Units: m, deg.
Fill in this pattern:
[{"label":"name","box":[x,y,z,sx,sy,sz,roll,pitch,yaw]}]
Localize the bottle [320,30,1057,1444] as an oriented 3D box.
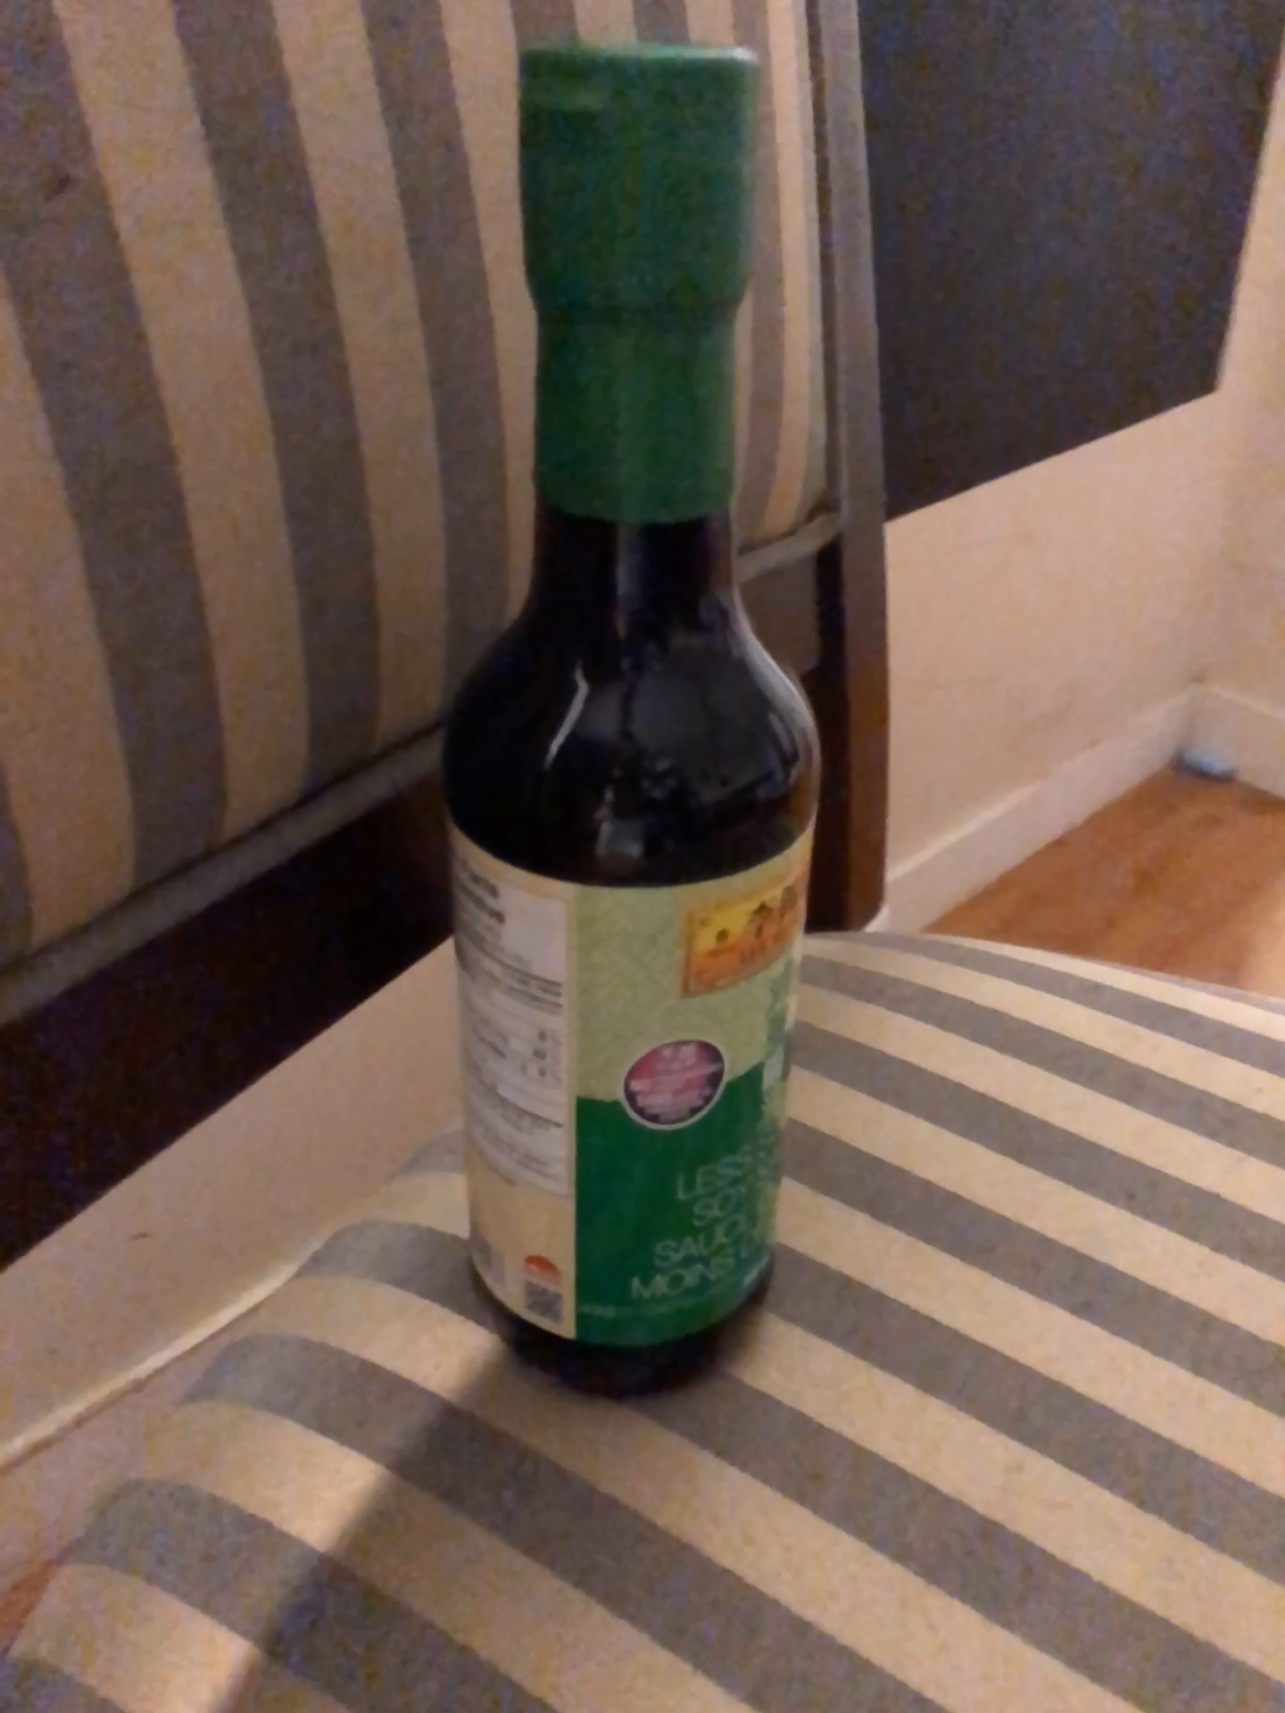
[{"label":"bottle","box":[0.006,-0.015,0.254,0.070,0.228,0.080,20,35,28]}]
